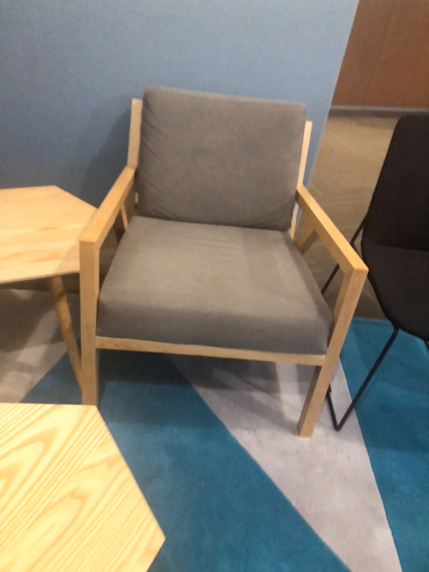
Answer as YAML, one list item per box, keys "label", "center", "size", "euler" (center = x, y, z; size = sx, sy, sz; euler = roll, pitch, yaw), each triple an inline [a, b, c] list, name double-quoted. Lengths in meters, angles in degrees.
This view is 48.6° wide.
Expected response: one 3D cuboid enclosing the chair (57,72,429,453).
- label: "chair"
  center: [0.014, -0.105, 1.438]
  size: [0.710, 0.743, 0.848]
  euler: [5, 36, -6]
